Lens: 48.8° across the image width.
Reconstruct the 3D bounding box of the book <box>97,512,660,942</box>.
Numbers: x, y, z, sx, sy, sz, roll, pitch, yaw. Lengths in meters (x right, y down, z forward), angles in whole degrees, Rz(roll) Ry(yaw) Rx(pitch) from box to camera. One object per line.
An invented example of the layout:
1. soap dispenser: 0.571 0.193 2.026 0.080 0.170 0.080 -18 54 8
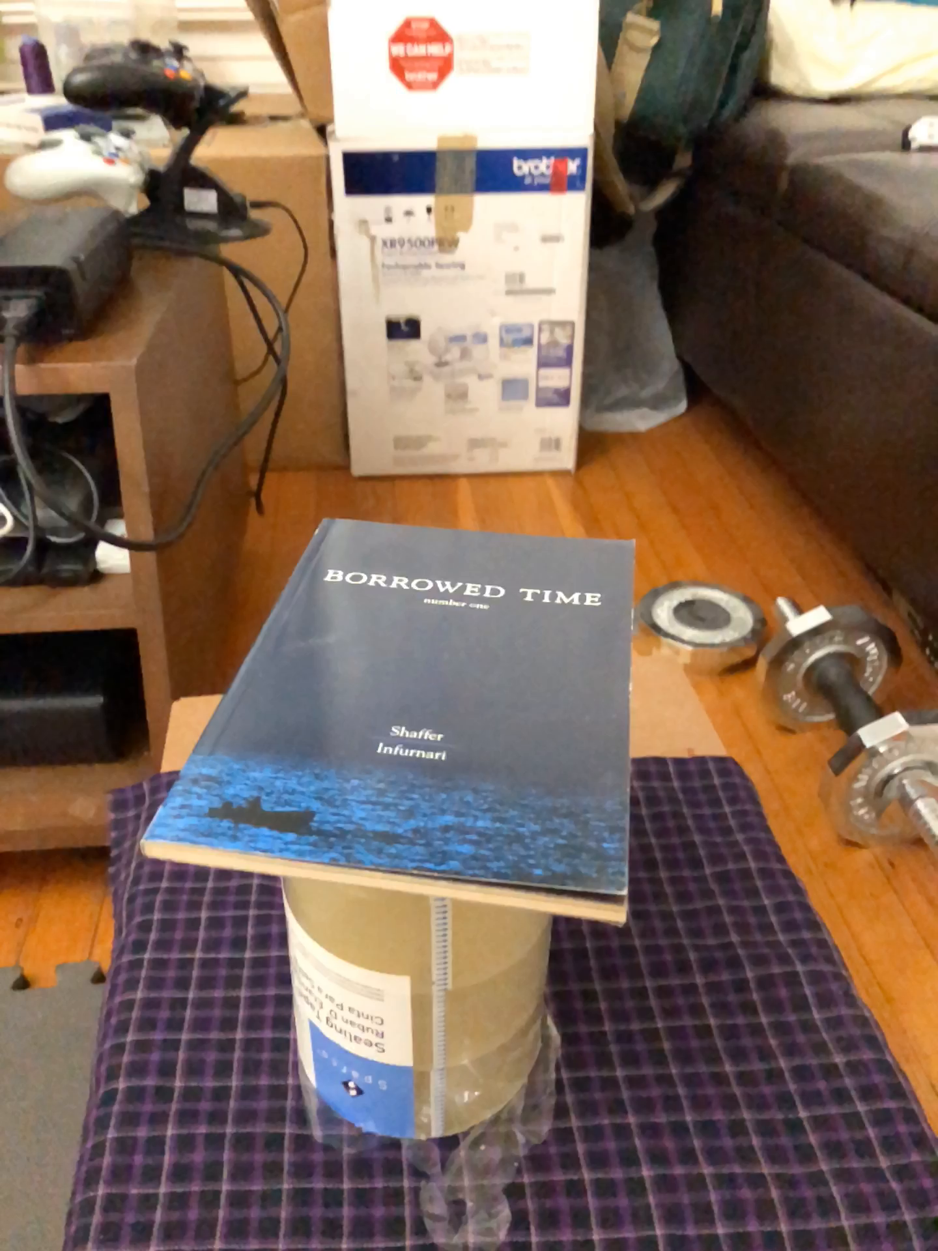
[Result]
1. book: -0.011 0.016 0.389 0.160 0.010 0.231 5 31 6
